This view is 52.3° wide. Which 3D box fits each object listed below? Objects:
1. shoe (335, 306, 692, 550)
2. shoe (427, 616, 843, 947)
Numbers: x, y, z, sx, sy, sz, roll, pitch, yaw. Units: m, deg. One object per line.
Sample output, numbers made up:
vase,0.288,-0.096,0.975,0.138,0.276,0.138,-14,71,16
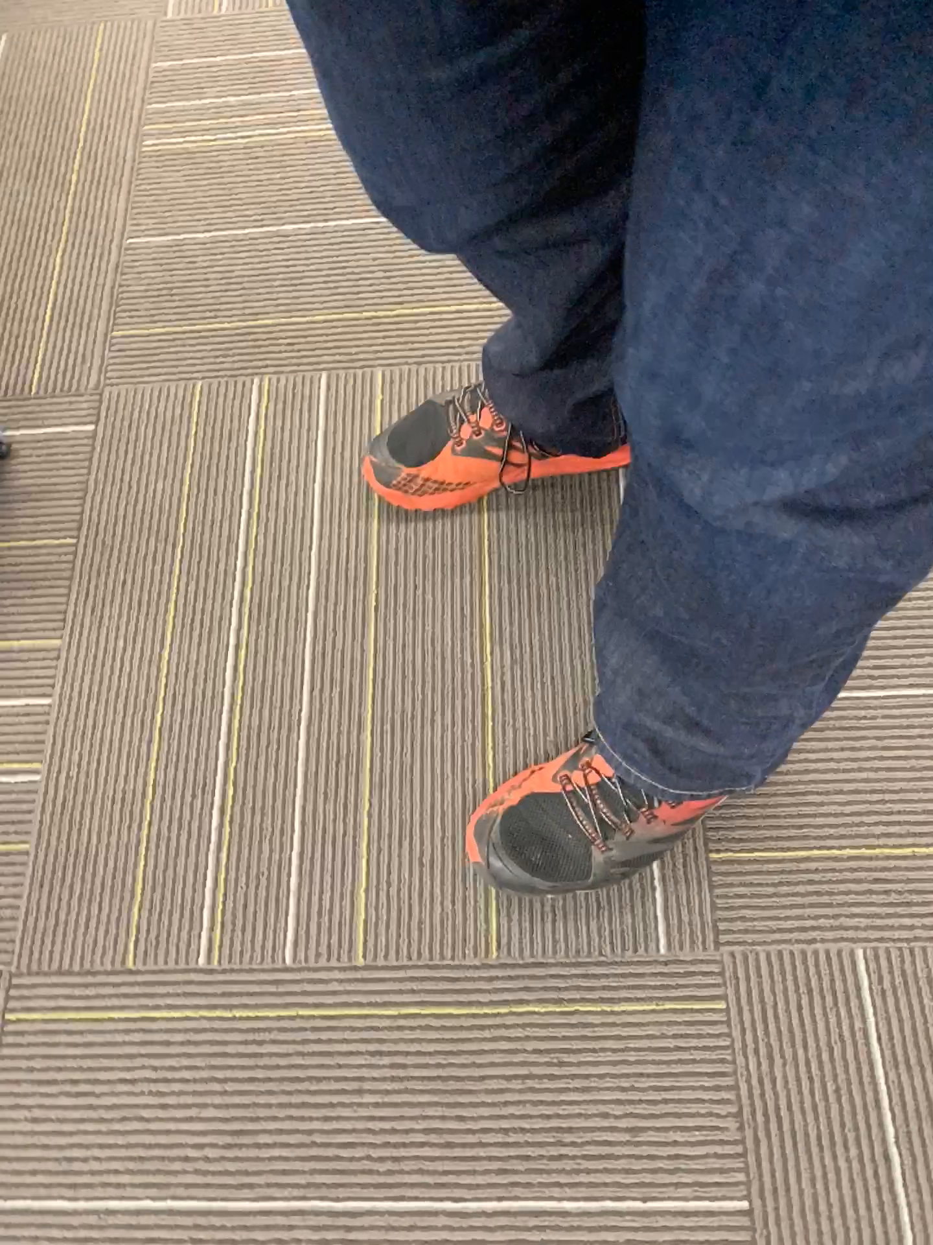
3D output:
shoe,0.047,-0.192,0.960,0.320,0.120,0.120,-15,67,0
shoe,0.135,0.134,0.796,0.300,0.100,0.130,-27,68,-5
